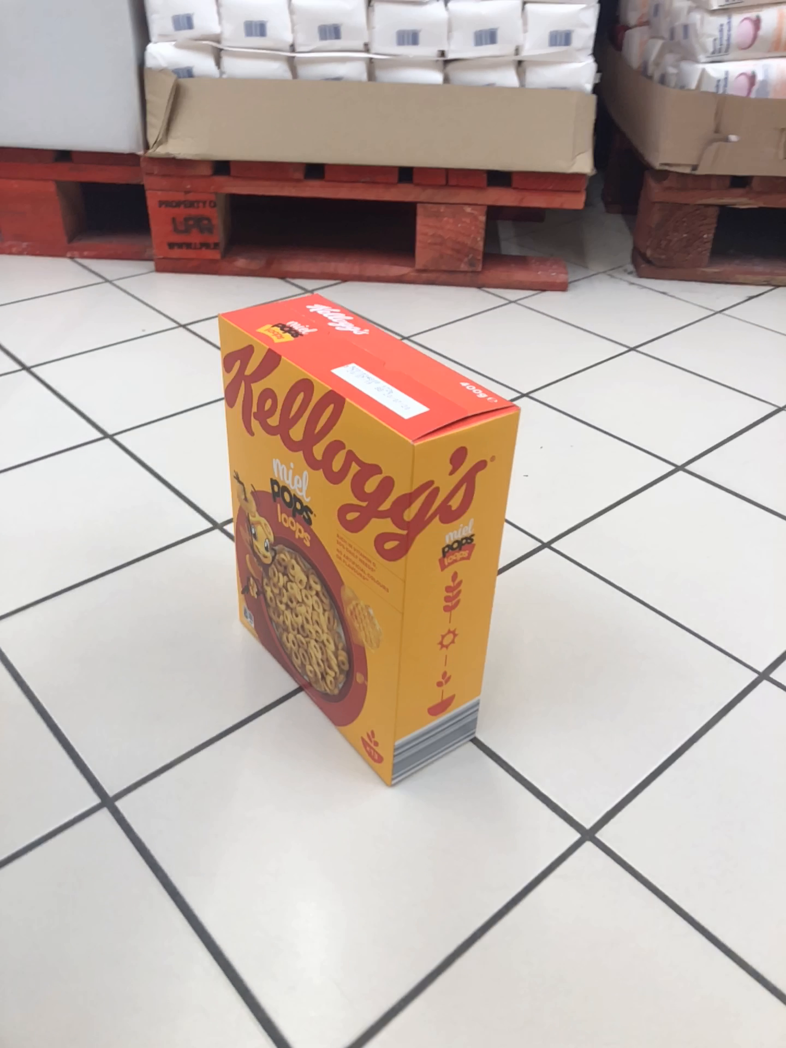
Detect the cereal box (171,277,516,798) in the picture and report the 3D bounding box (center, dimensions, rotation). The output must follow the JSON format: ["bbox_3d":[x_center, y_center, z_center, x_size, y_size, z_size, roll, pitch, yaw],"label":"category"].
[{"bbox_3d":[-0.038,0.003,0.524,0.090,0.238,0.190,-22,41,-31],"label":"cereal box"}]
